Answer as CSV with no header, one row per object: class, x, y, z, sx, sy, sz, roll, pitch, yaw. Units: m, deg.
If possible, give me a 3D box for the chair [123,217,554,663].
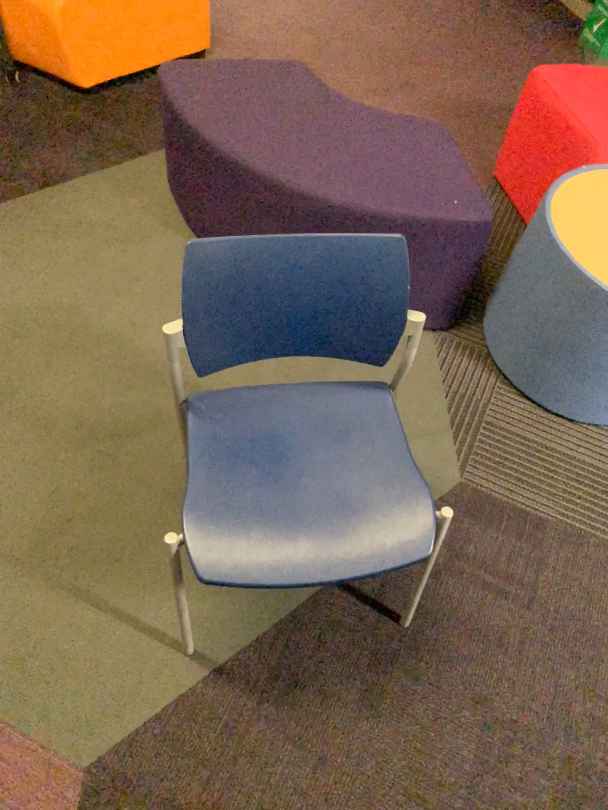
chair,-0.005,0.098,1.235,0.560,0.695,0.574,-3,55,-8
